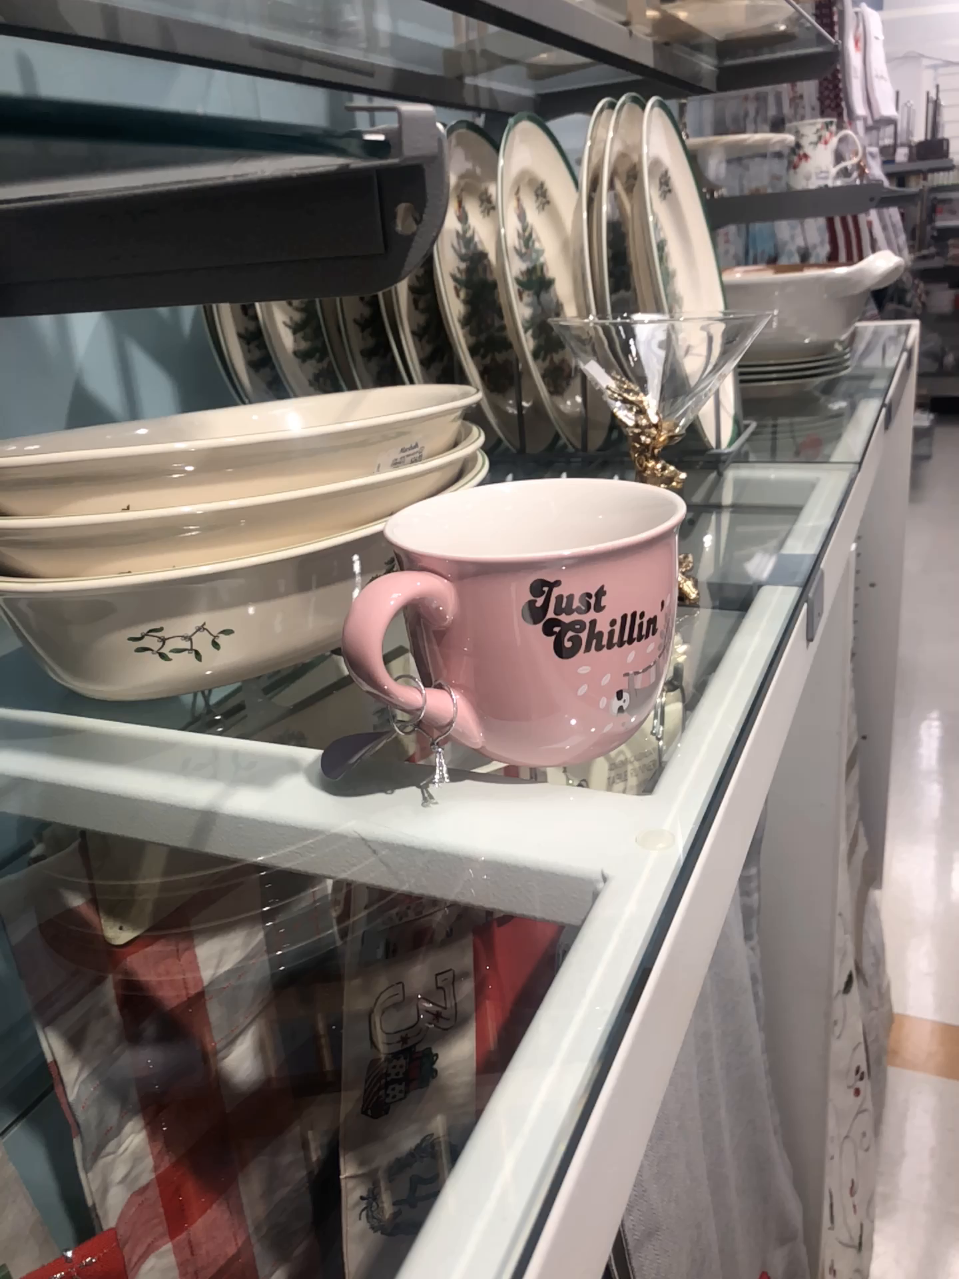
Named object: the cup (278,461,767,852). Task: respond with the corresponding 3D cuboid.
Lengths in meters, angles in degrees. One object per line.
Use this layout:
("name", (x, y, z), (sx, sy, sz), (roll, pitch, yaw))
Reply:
("cup", (0.020, -0.006, 0.389), (0.112, 0.085, 0.136), (14, 26, 40))
